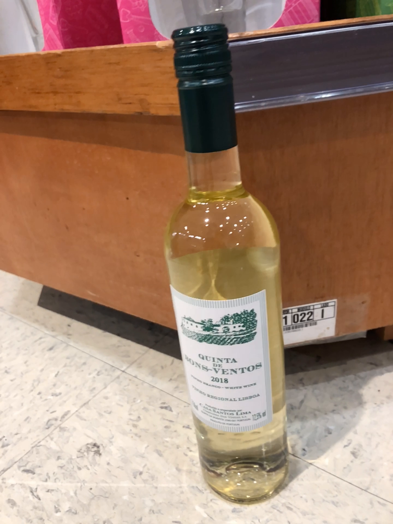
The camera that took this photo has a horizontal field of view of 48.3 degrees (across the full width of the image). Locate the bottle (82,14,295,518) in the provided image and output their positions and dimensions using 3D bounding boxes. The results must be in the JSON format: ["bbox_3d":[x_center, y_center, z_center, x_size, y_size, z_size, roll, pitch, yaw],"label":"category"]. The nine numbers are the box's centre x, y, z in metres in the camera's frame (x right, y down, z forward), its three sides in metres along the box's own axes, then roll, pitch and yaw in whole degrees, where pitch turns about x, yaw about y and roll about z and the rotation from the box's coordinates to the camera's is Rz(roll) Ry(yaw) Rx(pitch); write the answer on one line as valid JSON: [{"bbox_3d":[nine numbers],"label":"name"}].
[{"bbox_3d":[0.017,0.022,0.281,0.080,0.308,0.081,-6,27,3],"label":"bottle"}]
